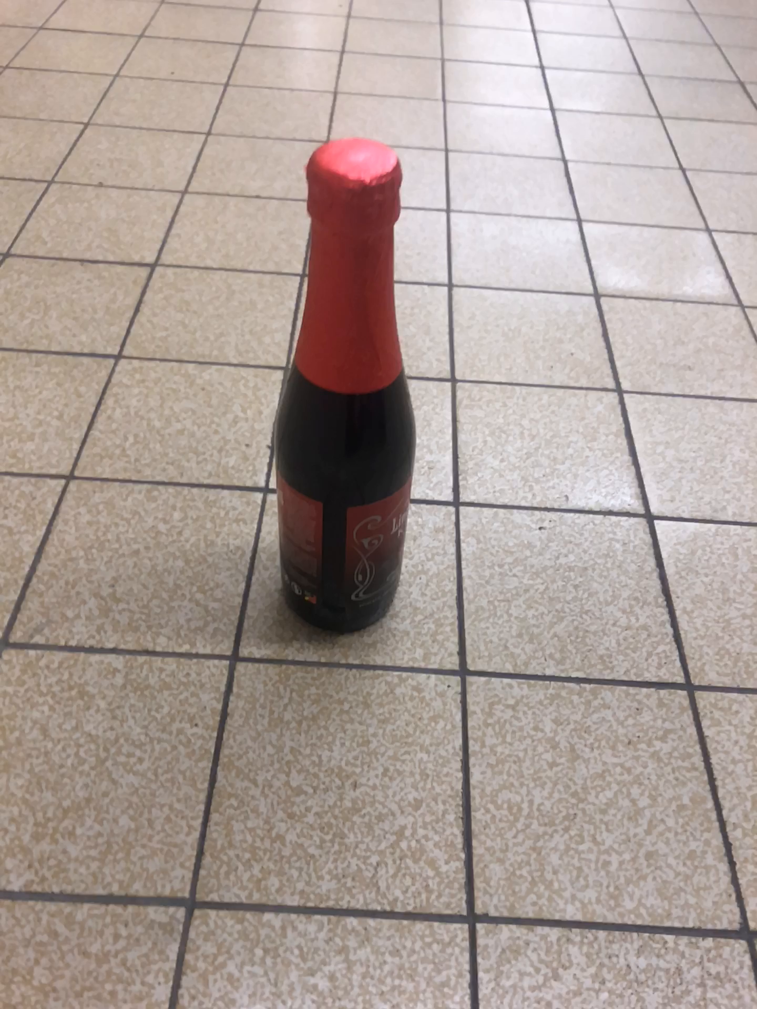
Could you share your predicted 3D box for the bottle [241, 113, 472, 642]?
[{"bbox_3d":[-0.013,-0.031,0.310,0.060,0.199,0.060,2,48,-2],"label":"bottle"}]
